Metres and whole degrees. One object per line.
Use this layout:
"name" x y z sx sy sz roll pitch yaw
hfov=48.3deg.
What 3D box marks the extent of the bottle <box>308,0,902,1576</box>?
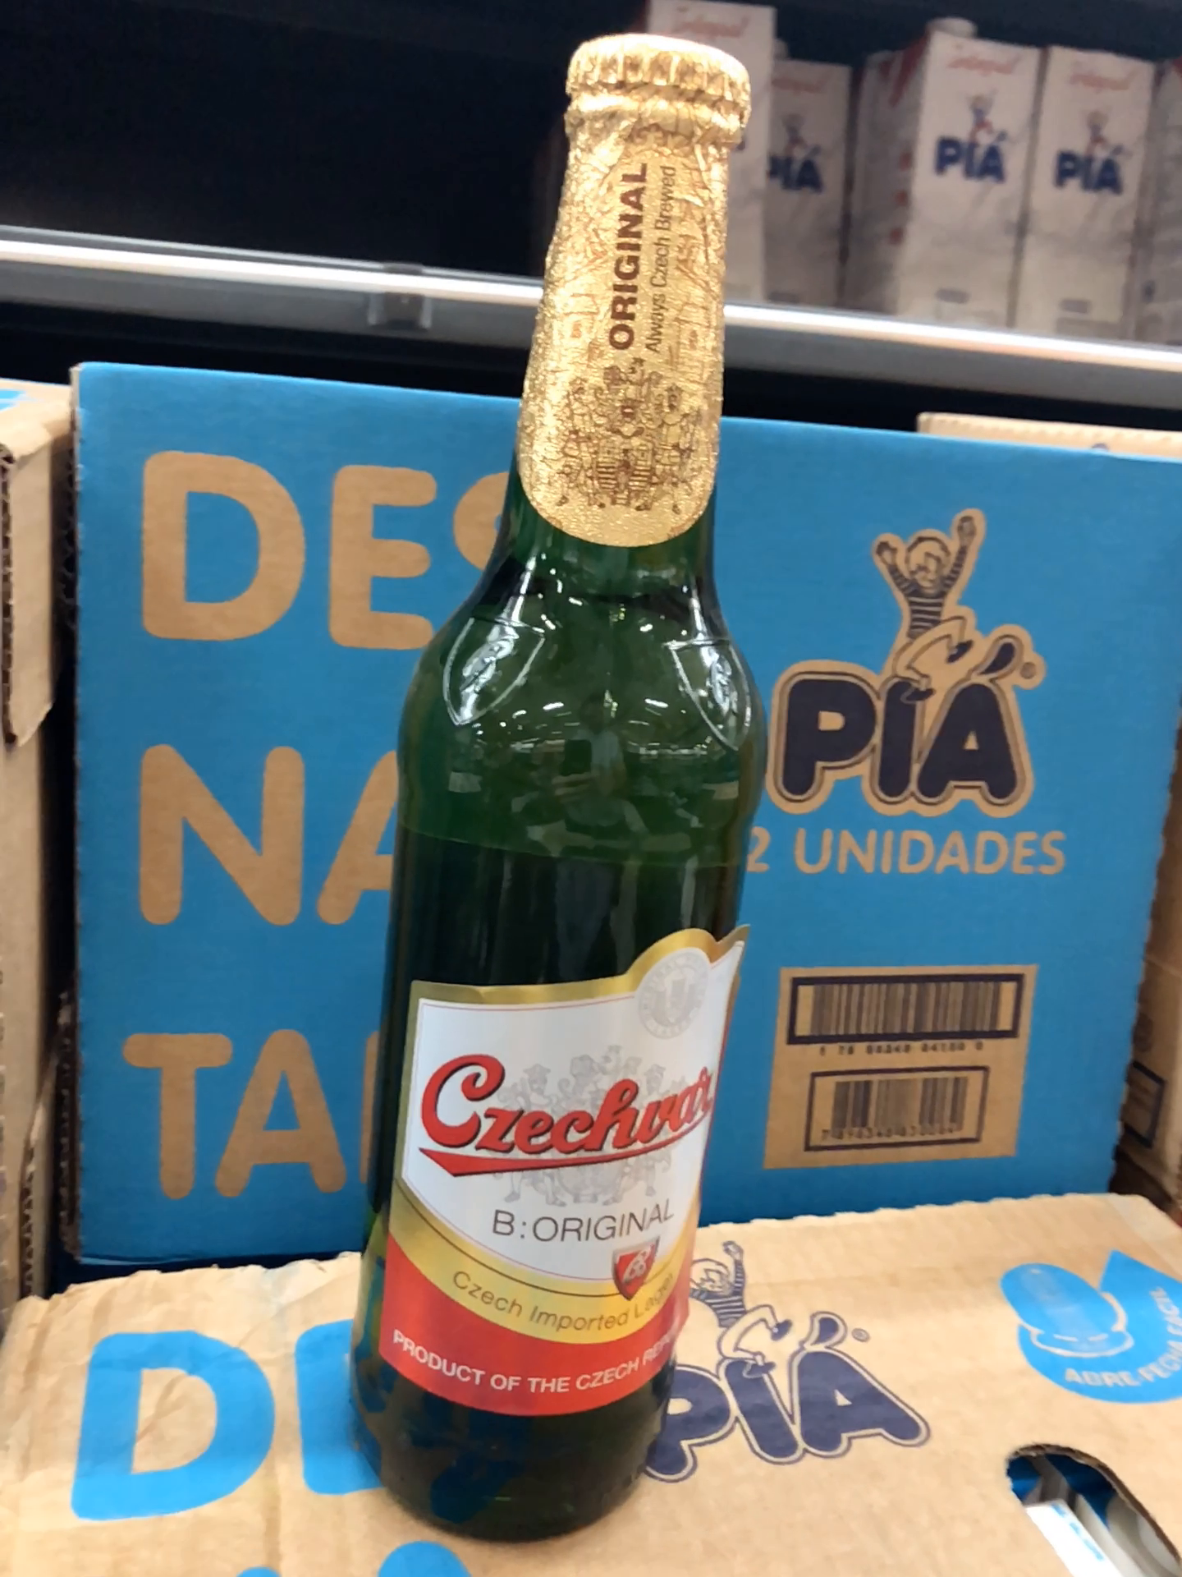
"bottle" -0.008 0.001 0.243 0.070 0.269 0.070 4 11 -1
